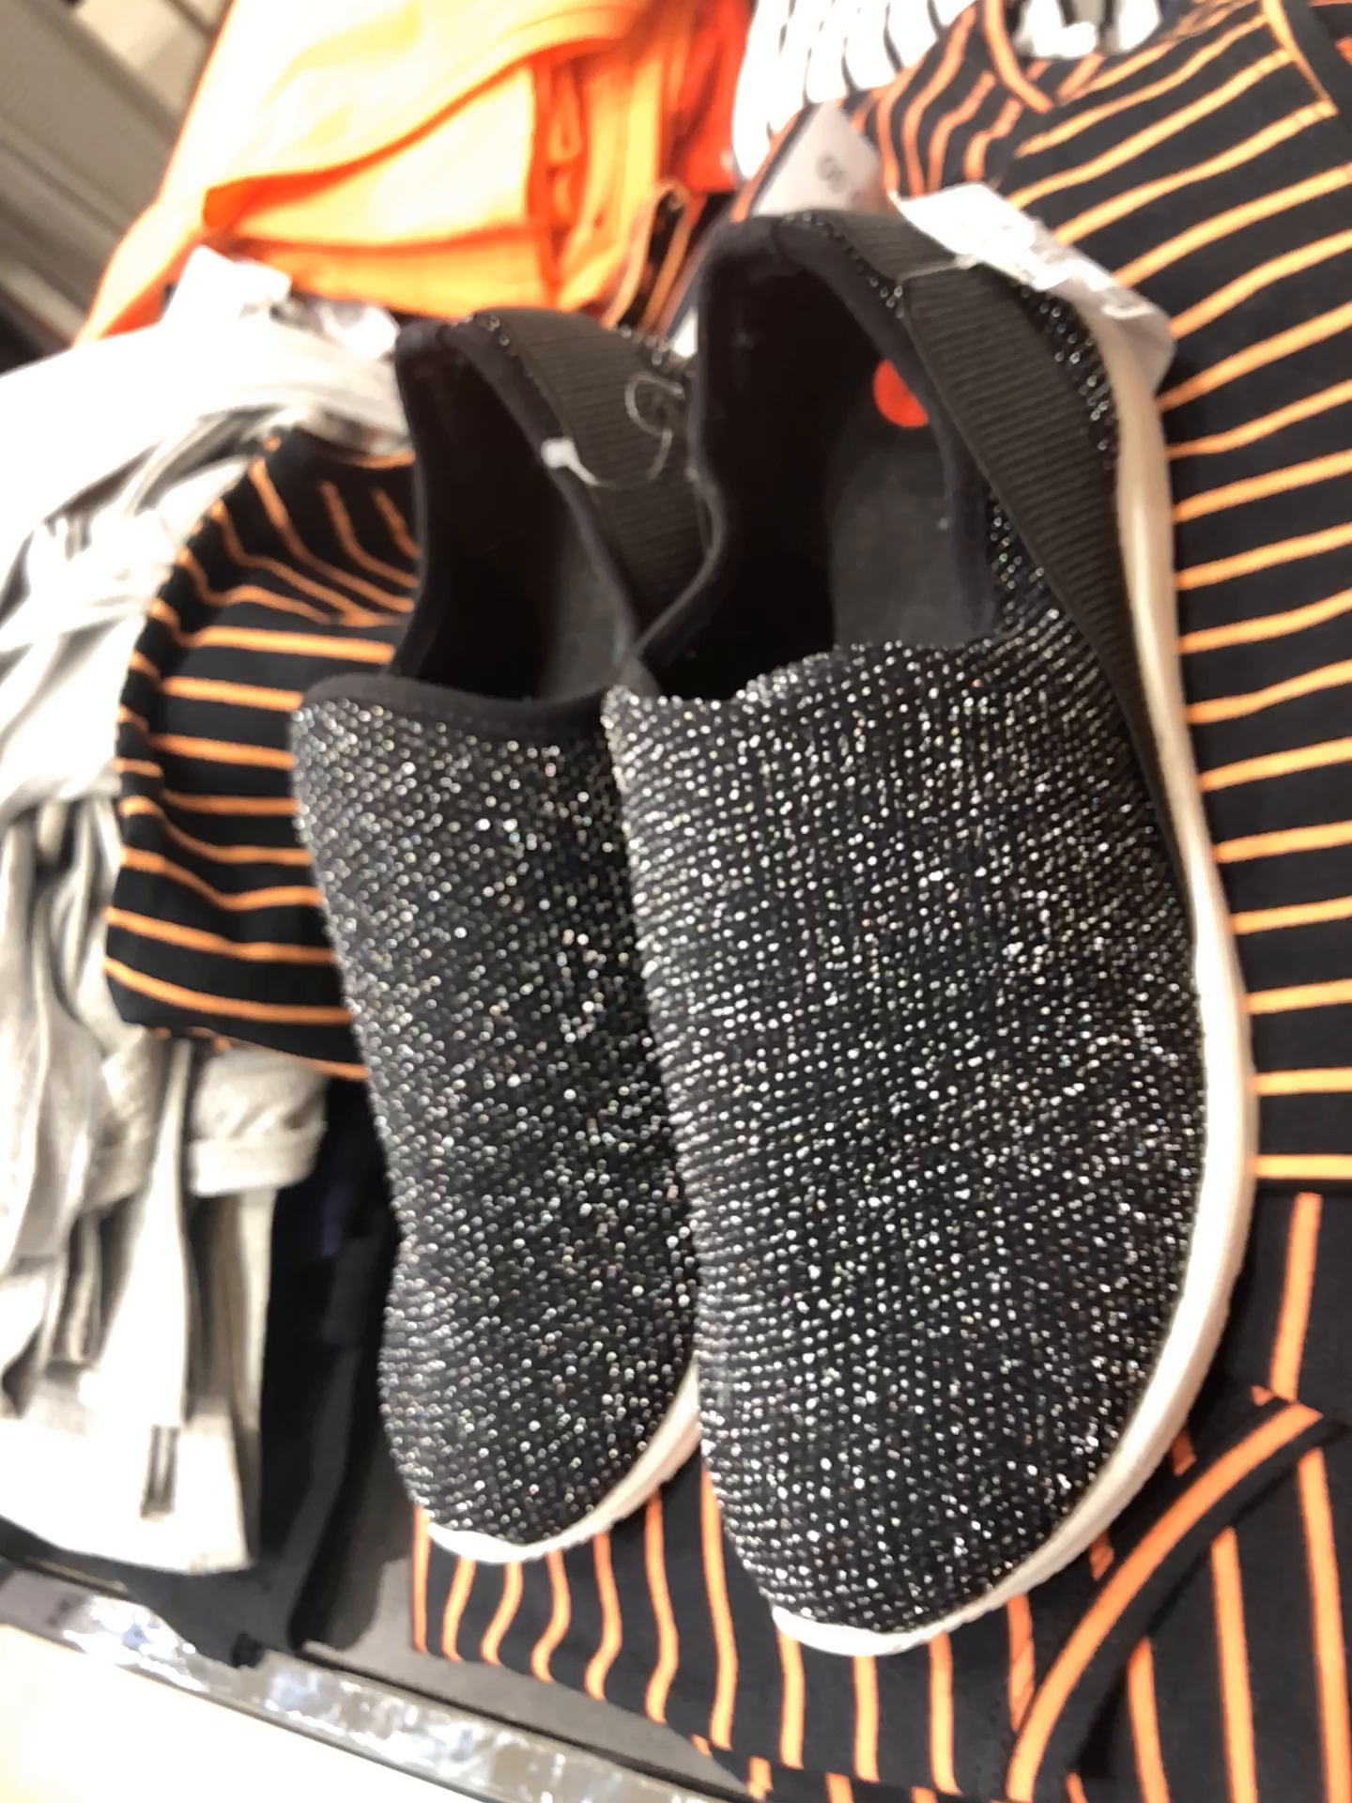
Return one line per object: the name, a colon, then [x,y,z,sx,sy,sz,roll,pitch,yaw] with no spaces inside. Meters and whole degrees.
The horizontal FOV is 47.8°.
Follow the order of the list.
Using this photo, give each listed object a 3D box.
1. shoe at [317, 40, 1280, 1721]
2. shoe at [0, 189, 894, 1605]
shoe: [0.039,-0.002,0.267,0.100,0.110,0.240,-7,63,34]
shoe: [-0.039,0.001,0.312,0.100,0.110,0.240,-4,65,35]
